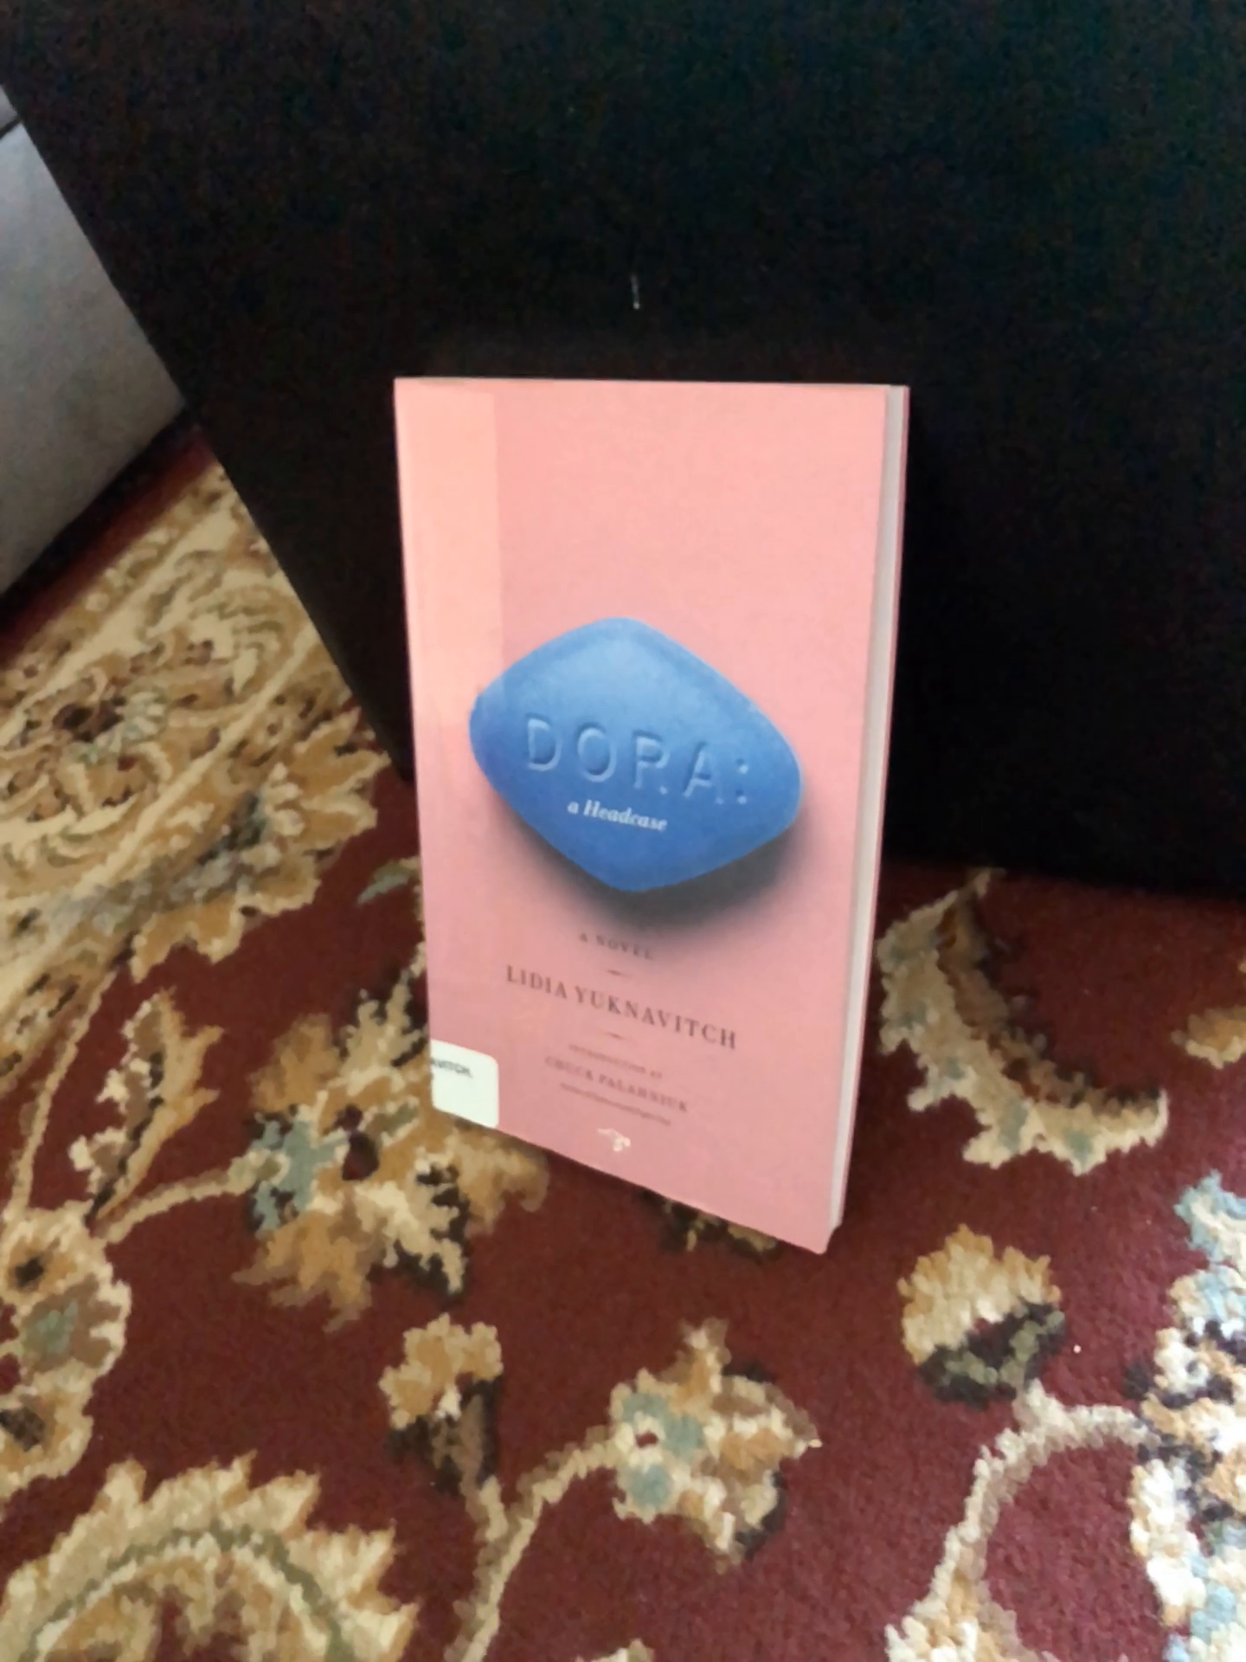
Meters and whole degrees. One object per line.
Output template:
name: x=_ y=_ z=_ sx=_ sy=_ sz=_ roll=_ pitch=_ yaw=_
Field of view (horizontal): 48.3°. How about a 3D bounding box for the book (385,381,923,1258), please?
book: x=0.001 y=-0.008 z=0.403 sx=0.149 sy=0.231 sz=0.030 roll=12 pitch=21 yaw=31
